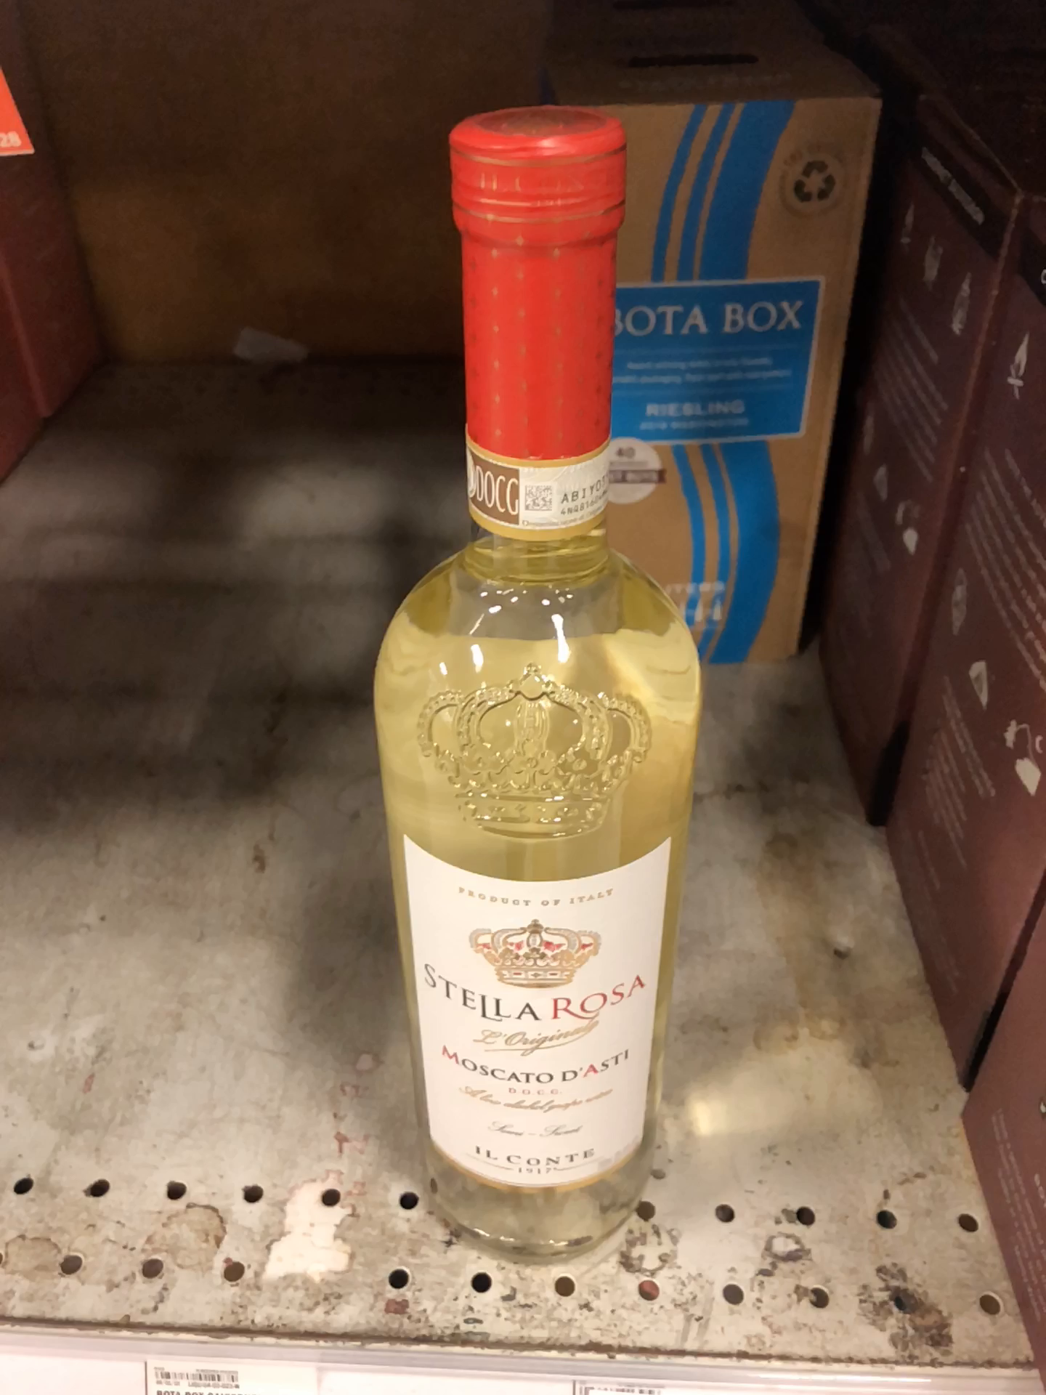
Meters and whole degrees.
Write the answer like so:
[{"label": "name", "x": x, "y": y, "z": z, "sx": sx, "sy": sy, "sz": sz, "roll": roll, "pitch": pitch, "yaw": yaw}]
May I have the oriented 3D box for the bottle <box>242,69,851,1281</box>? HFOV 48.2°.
[{"label": "bottle", "x": 0.005, "y": 0.034, "z": 0.283, "sx": 0.080, "sy": 0.319, "sz": 0.070, "roll": -2, "pitch": 40, "yaw": 0}]
